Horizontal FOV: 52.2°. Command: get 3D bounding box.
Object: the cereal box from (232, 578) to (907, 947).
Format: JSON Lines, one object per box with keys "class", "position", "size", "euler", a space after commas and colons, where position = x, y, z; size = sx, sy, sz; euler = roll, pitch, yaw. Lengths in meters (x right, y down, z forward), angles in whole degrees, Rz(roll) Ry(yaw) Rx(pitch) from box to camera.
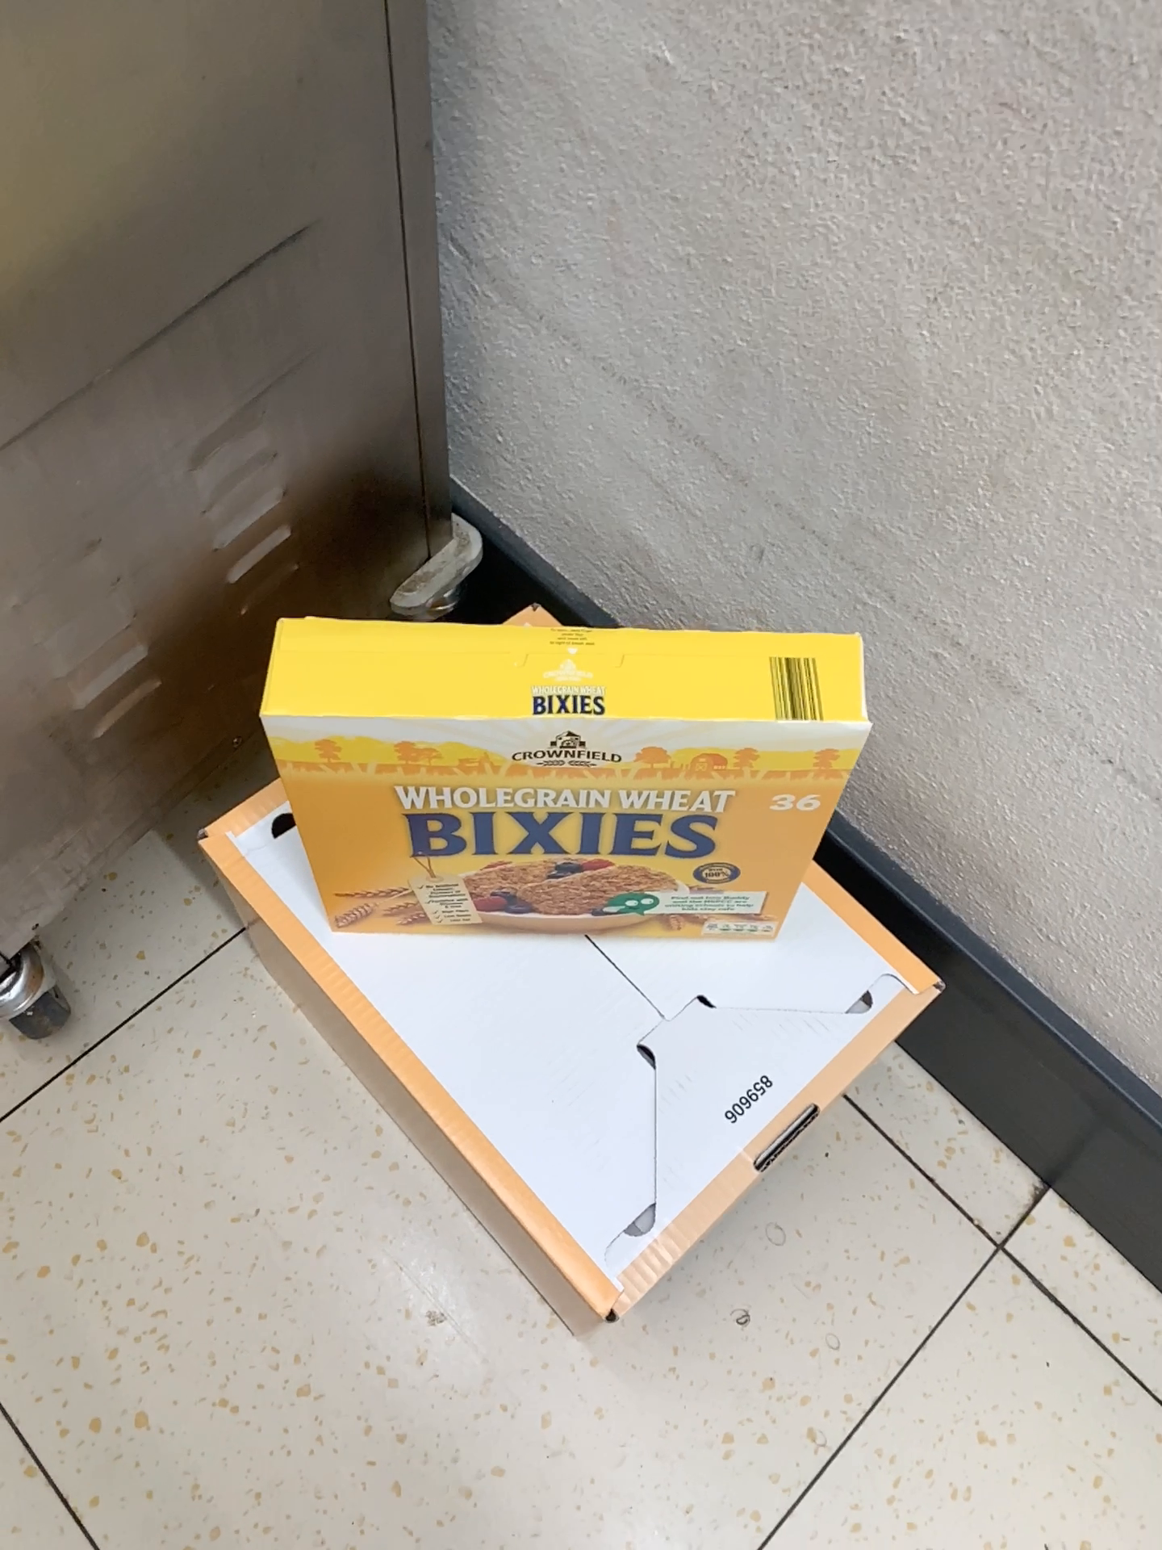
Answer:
{"class": "cereal box", "position": [-0.011, 0.011, 0.648], "size": [0.290, 0.278, 0.070], "euler": [1, 62, -3]}
